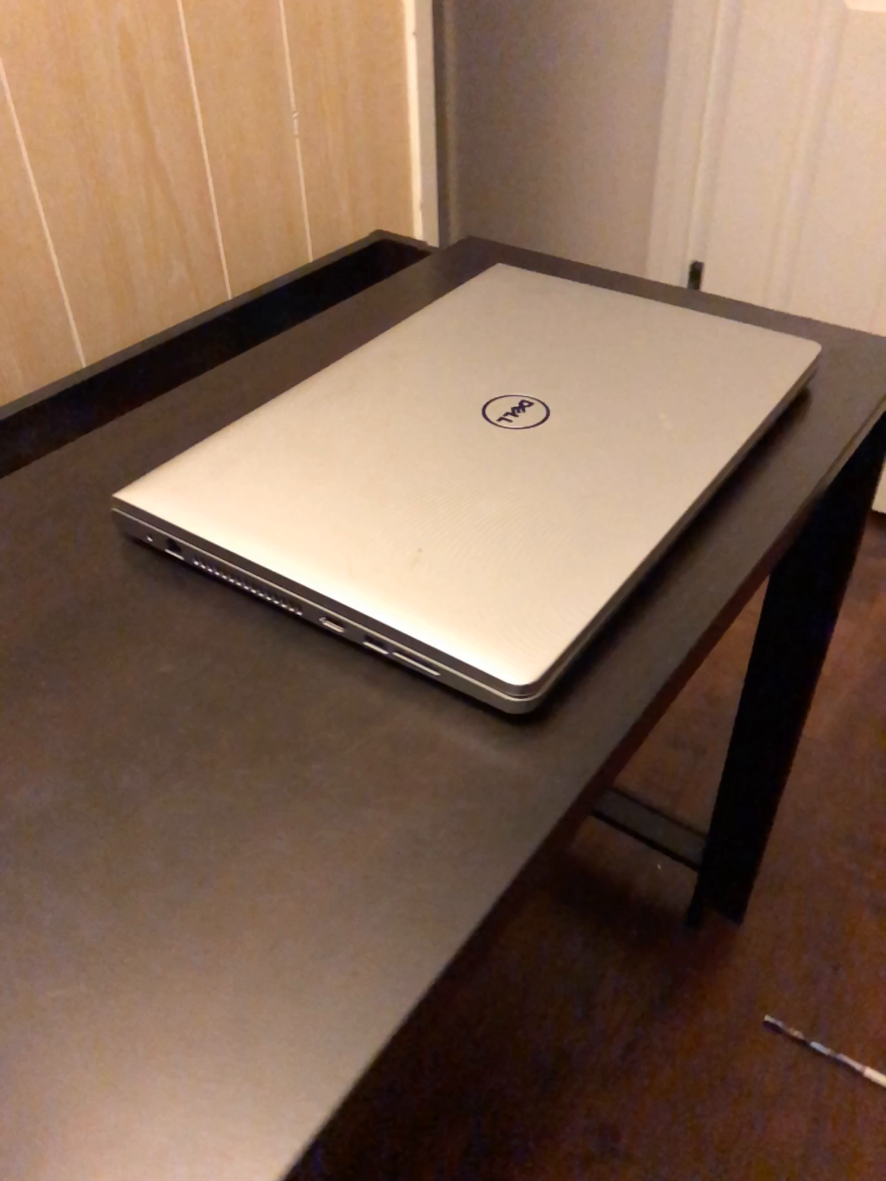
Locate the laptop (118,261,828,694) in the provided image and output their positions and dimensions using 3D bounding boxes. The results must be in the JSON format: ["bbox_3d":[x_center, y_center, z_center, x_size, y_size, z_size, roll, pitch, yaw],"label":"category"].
[{"bbox_3d":[0.039,-0.104,0.567,0.250,0.003,0.372,24,46,26],"label":"laptop"}]
